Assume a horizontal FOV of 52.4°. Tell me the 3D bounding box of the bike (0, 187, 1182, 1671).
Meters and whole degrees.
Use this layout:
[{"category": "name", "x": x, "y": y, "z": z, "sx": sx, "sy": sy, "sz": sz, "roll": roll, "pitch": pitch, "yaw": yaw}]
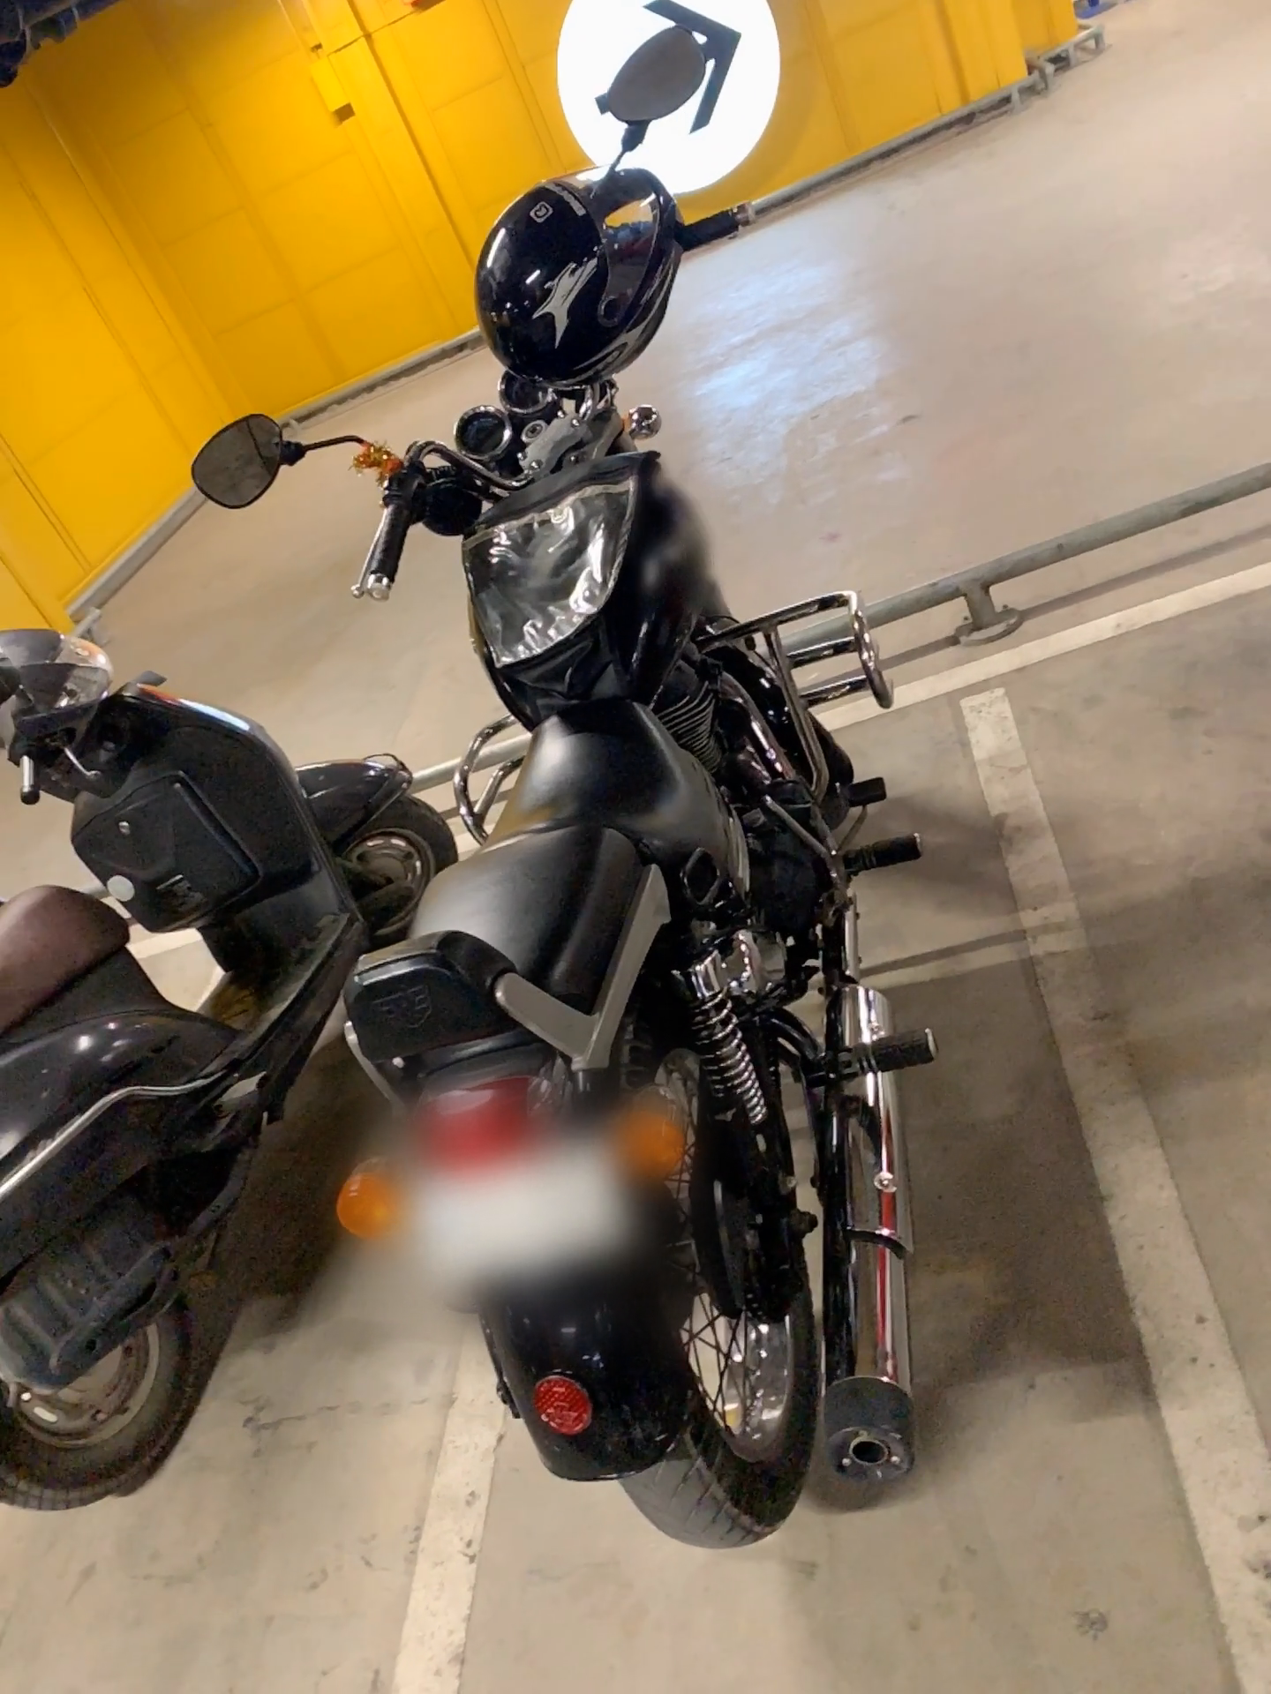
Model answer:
[{"category": "bike", "x": -0.042, "y": -0.139, "z": 2.056, "sx": 0.829, "sy": 1.228, "sz": 2.086, "roll": -20, "pitch": 30, "yaw": 13}]
